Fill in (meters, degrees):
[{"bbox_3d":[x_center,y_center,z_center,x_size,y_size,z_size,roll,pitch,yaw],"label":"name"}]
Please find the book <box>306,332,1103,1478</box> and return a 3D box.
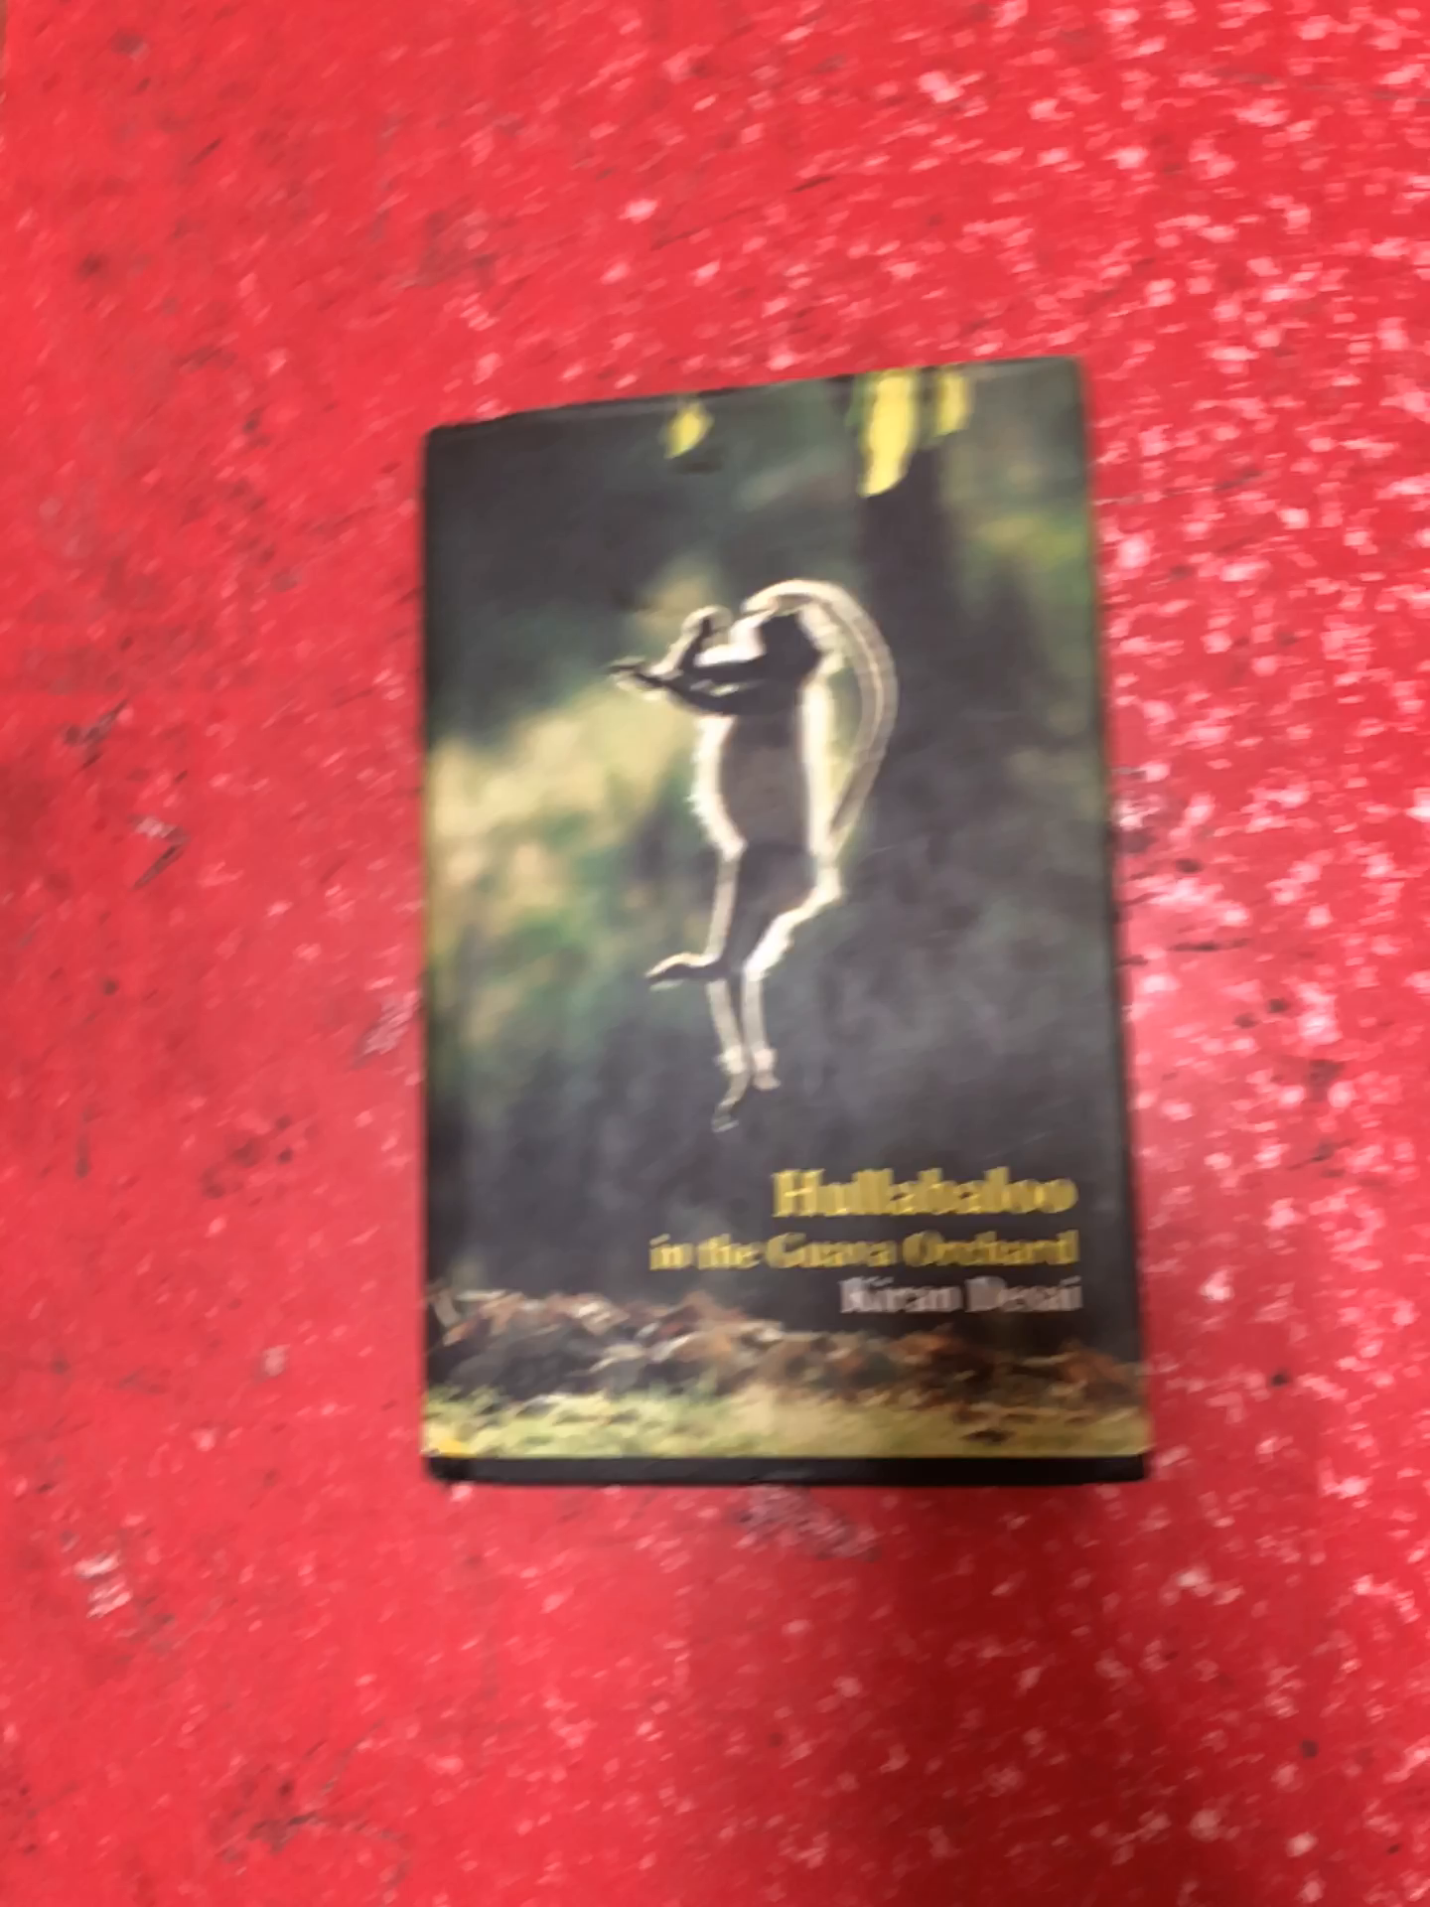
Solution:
[{"bbox_3d":[-0.006,-0.009,0.345,0.160,0.030,0.230,-3,83,10],"label":"book"}]
